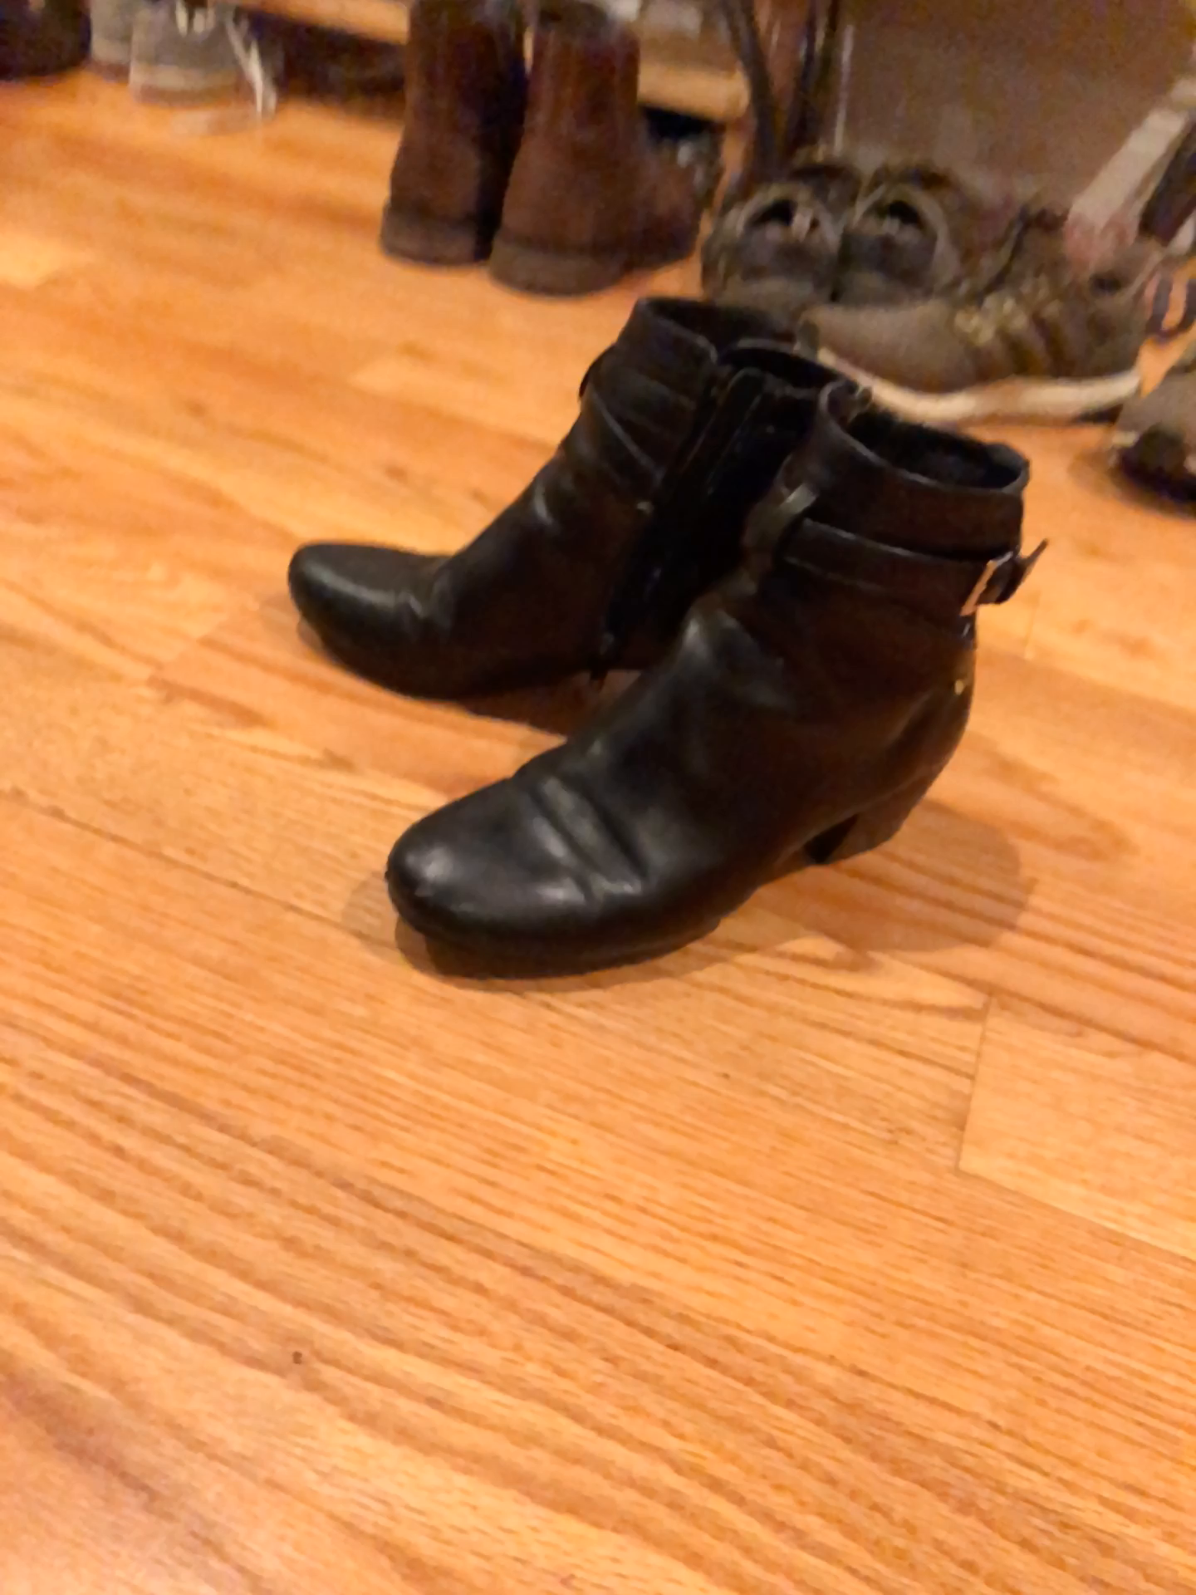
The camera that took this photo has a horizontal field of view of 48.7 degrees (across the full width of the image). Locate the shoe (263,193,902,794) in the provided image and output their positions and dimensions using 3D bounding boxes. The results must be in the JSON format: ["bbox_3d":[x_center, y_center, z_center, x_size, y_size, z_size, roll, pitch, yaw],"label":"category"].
[{"bbox_3d":[-0.014,-0.127,0.550,0.226,0.172,0.091,17,37,10],"label":"shoe"}]

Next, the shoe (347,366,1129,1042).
[{"bbox_3d":[0.040,-0.040,0.453,0.227,0.172,0.091,-14,43,-28],"label":"shoe"}]
